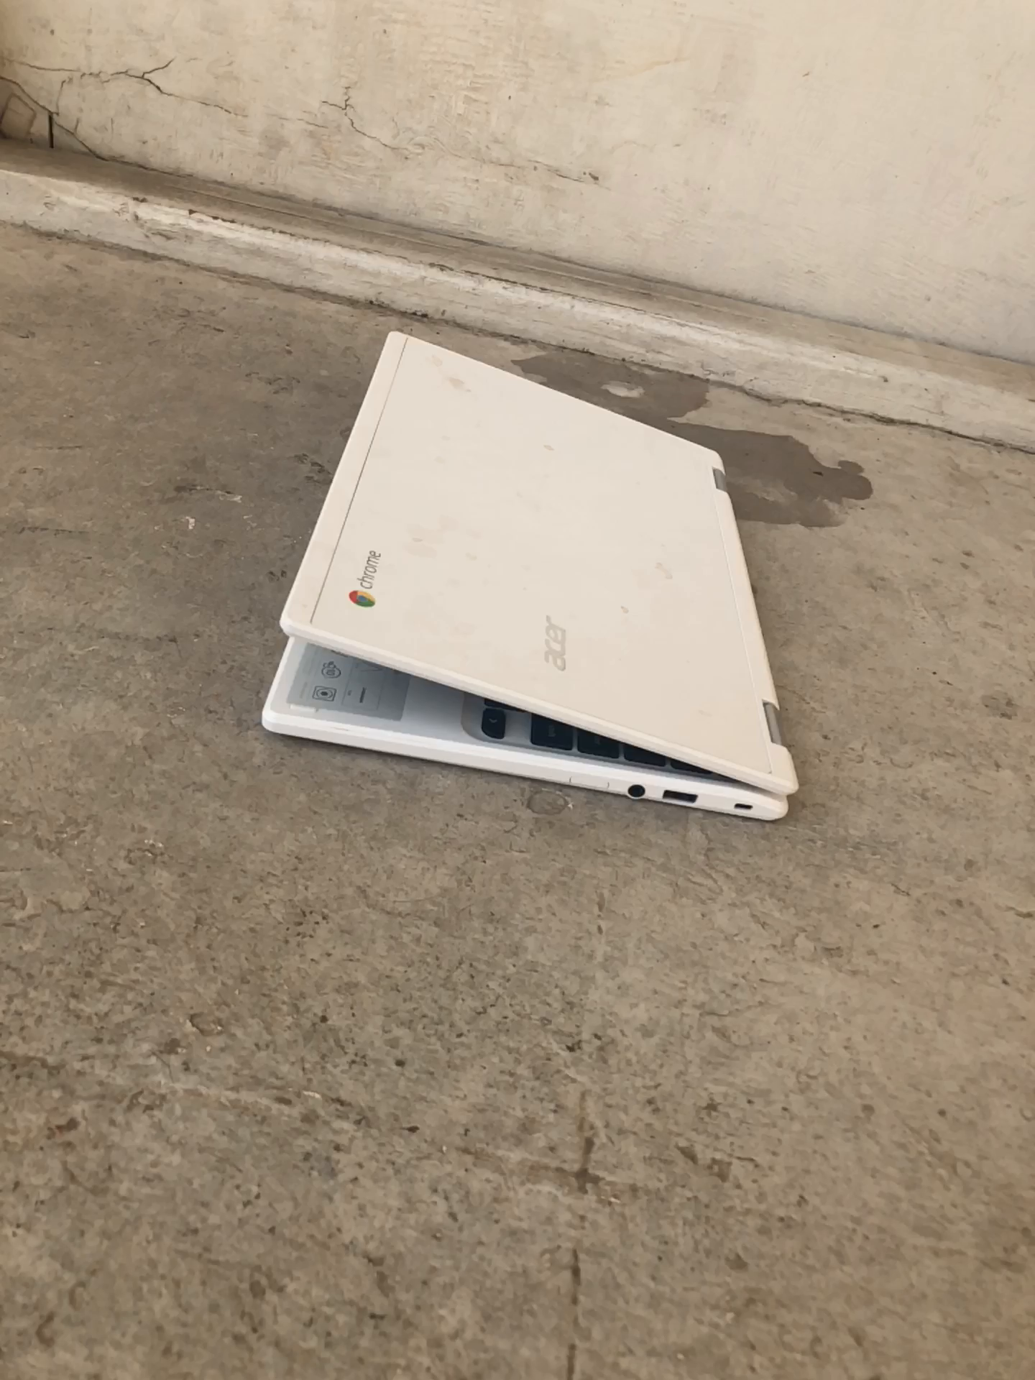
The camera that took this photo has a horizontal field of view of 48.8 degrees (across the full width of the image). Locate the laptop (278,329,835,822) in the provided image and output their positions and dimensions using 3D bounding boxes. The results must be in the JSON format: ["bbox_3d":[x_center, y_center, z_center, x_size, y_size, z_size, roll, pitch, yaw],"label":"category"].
[{"bbox_3d":[0.020,-0.071,0.509,0.190,0.046,0.280,12,36,-5],"label":"laptop"}]
